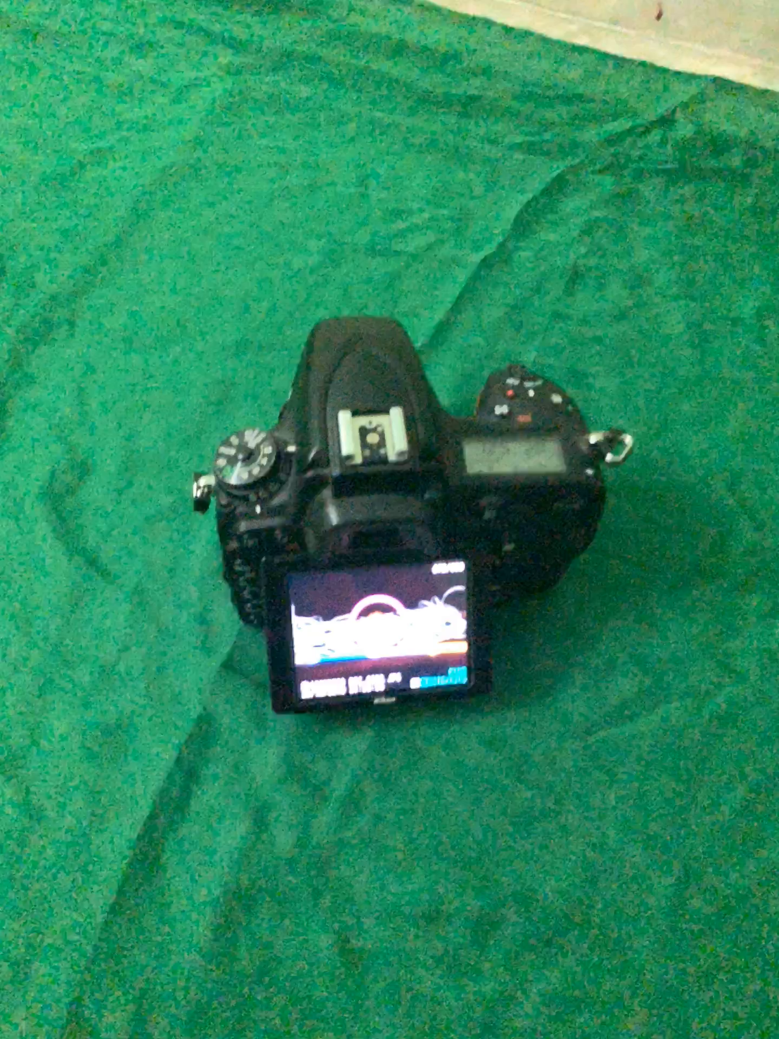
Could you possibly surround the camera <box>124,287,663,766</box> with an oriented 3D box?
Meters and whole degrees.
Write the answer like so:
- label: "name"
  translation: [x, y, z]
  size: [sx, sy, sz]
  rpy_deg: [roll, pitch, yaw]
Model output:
- label: "camera"
  translation: [-0.005, 0.004, 0.284]
  size: [0.142, 0.100, 0.129]
  rpy_deg: [-4, 59, -4]
